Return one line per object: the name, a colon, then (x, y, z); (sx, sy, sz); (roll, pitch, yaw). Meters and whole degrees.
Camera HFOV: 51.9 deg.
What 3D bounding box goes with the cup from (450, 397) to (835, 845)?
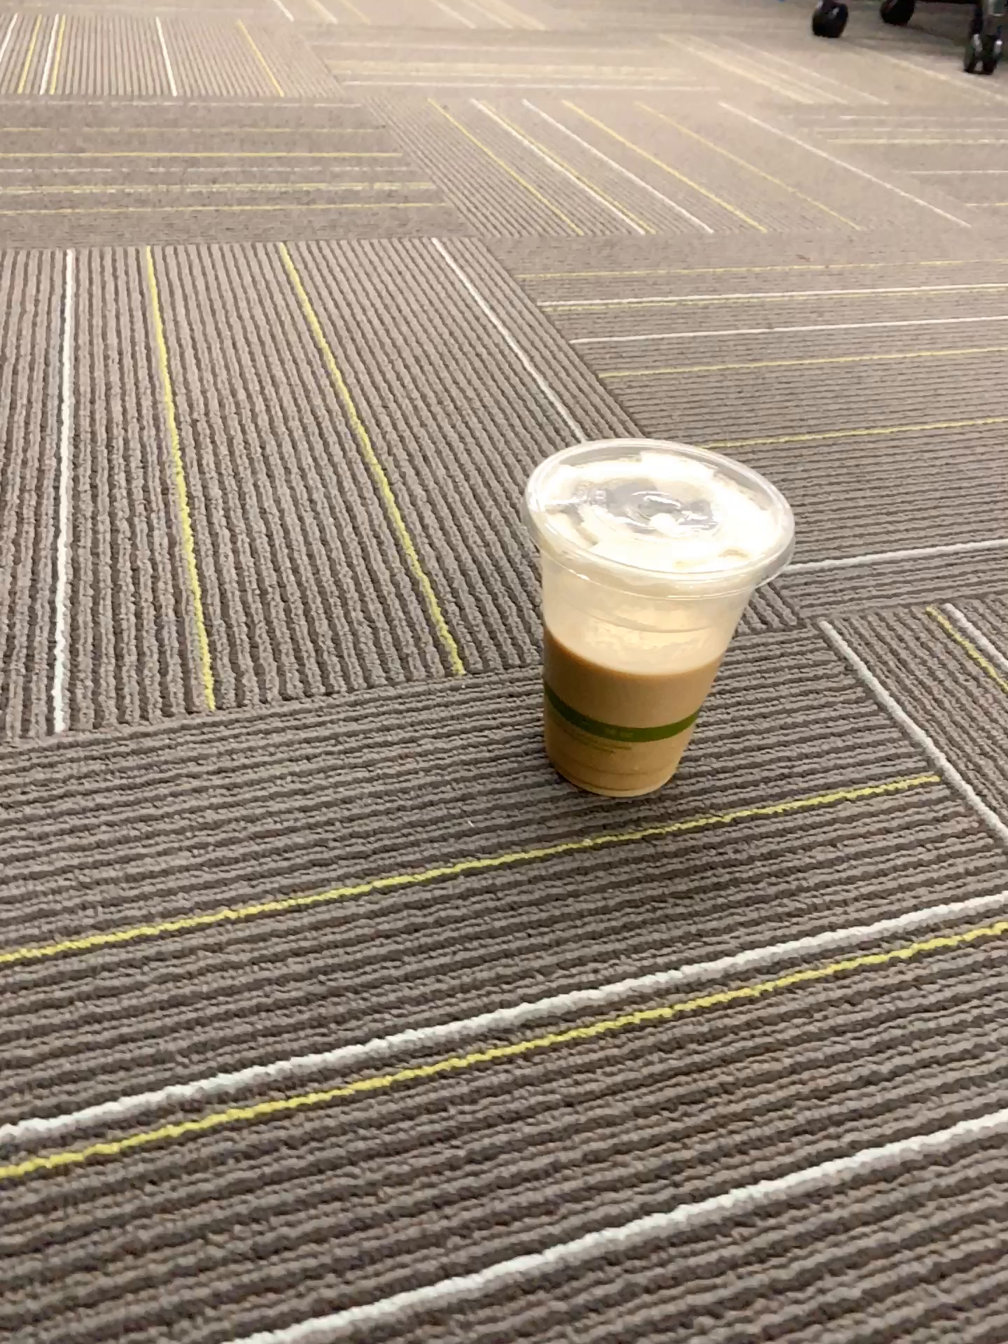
cup: (0.050, -0.023, 0.397); (0.100, 0.109, 0.100); (3, 39, -2)
